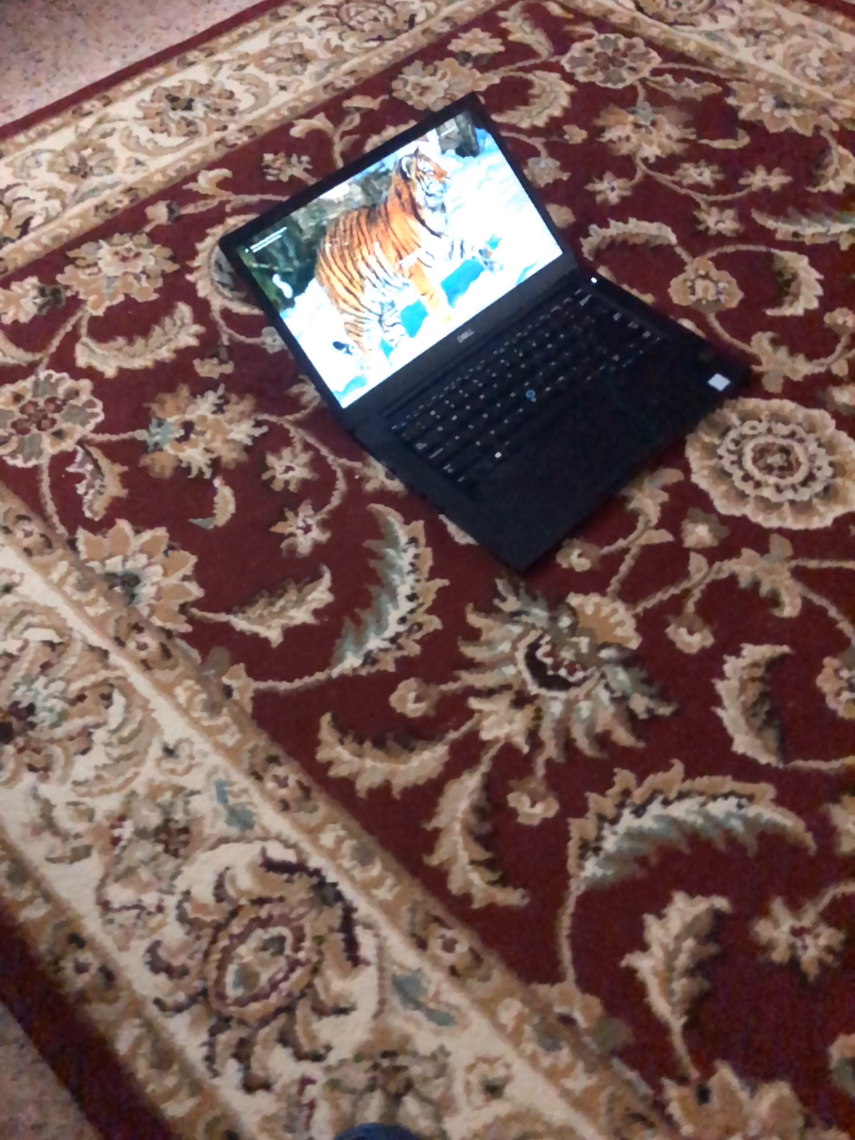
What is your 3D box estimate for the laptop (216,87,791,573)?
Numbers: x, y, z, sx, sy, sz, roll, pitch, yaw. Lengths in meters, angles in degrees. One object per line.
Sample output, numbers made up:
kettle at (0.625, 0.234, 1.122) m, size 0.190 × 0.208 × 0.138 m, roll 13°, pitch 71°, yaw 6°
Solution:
laptop at (0.062, -0.245, 0.878) m, size 0.328 × 0.124 × 0.384 m, roll -40°, pitch 65°, yaw -20°
